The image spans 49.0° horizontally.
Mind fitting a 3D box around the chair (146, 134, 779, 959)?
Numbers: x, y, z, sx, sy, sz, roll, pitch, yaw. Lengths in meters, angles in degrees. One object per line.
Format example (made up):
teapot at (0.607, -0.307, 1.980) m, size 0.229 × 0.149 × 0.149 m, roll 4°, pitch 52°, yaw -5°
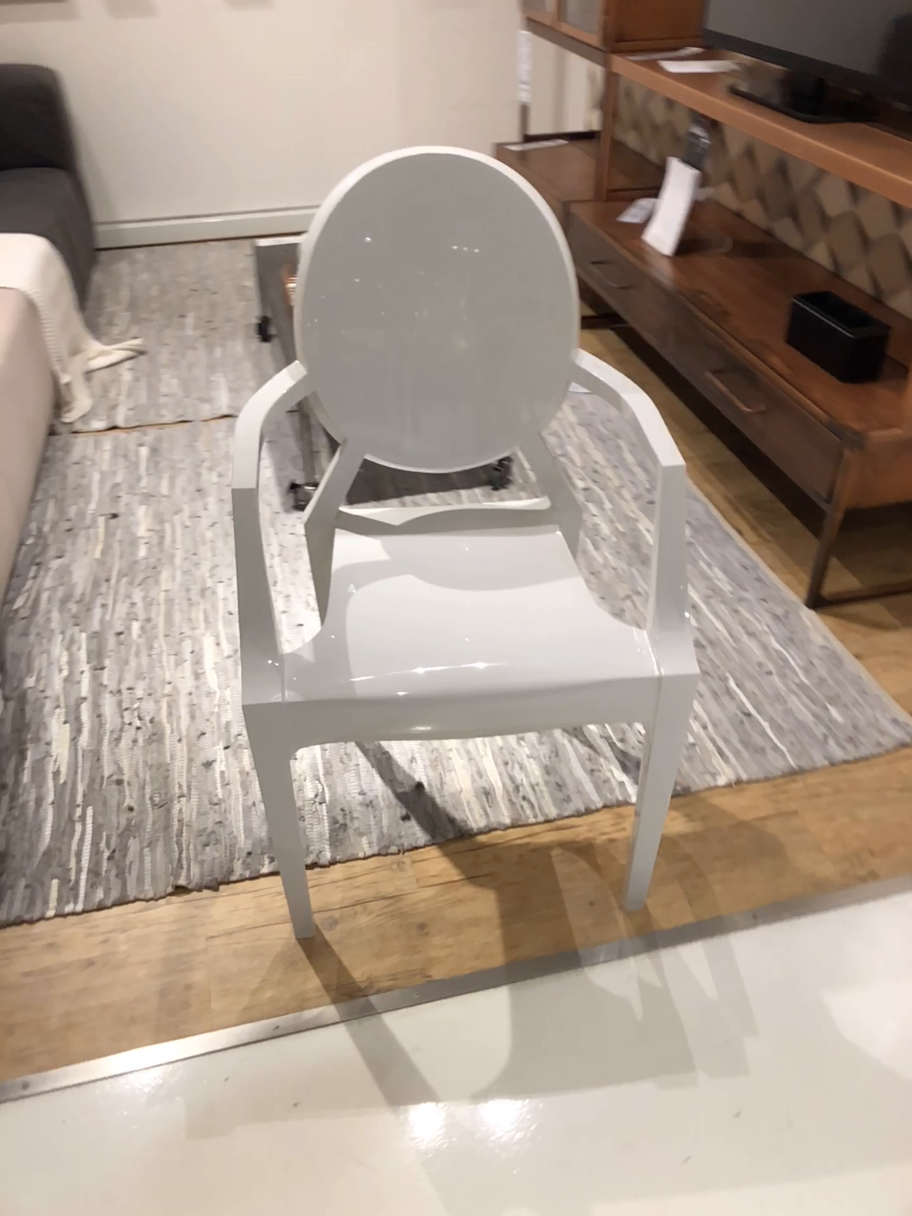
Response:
chair at (-0.014, -0.077, 1.272) m, size 0.510 × 0.843 × 0.554 m, roll -4°, pitch 36°, yaw -5°
